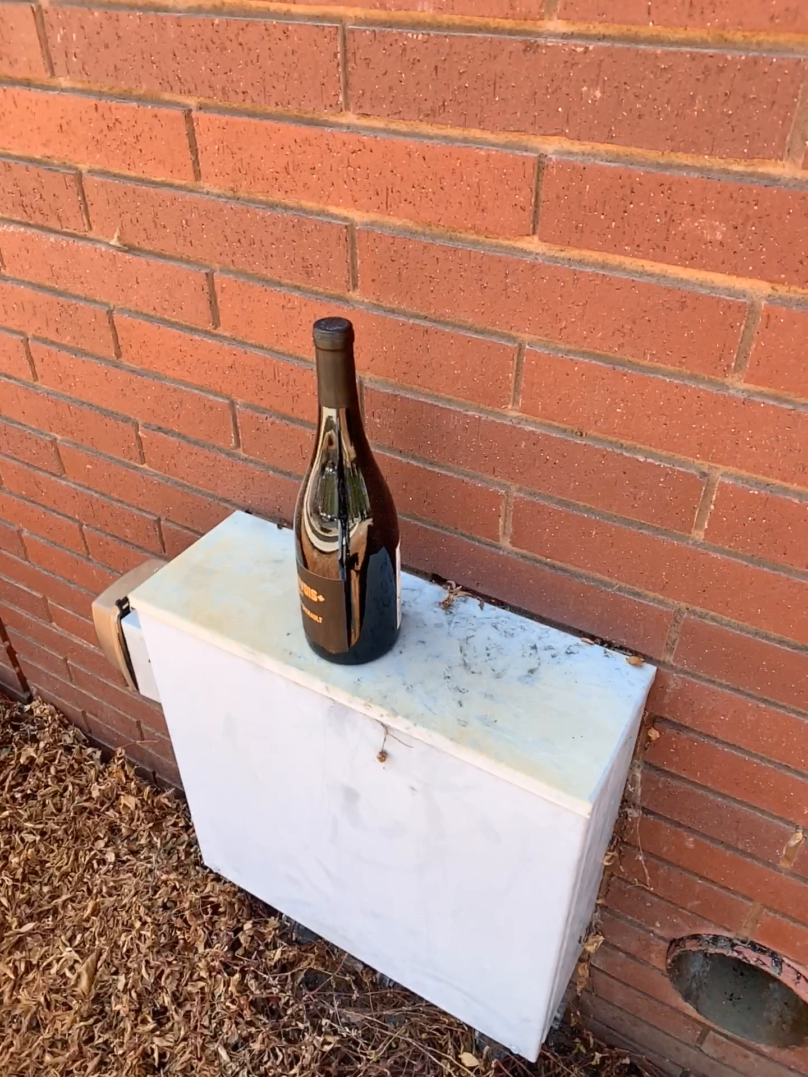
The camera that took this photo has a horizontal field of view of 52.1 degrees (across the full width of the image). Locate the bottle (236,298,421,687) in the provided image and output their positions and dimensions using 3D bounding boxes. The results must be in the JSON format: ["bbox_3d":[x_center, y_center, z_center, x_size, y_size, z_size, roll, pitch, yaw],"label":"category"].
[{"bbox_3d":[-0.052,-0.028,0.630,0.090,0.268,0.101,-17,41,-22],"label":"bottle"}]
